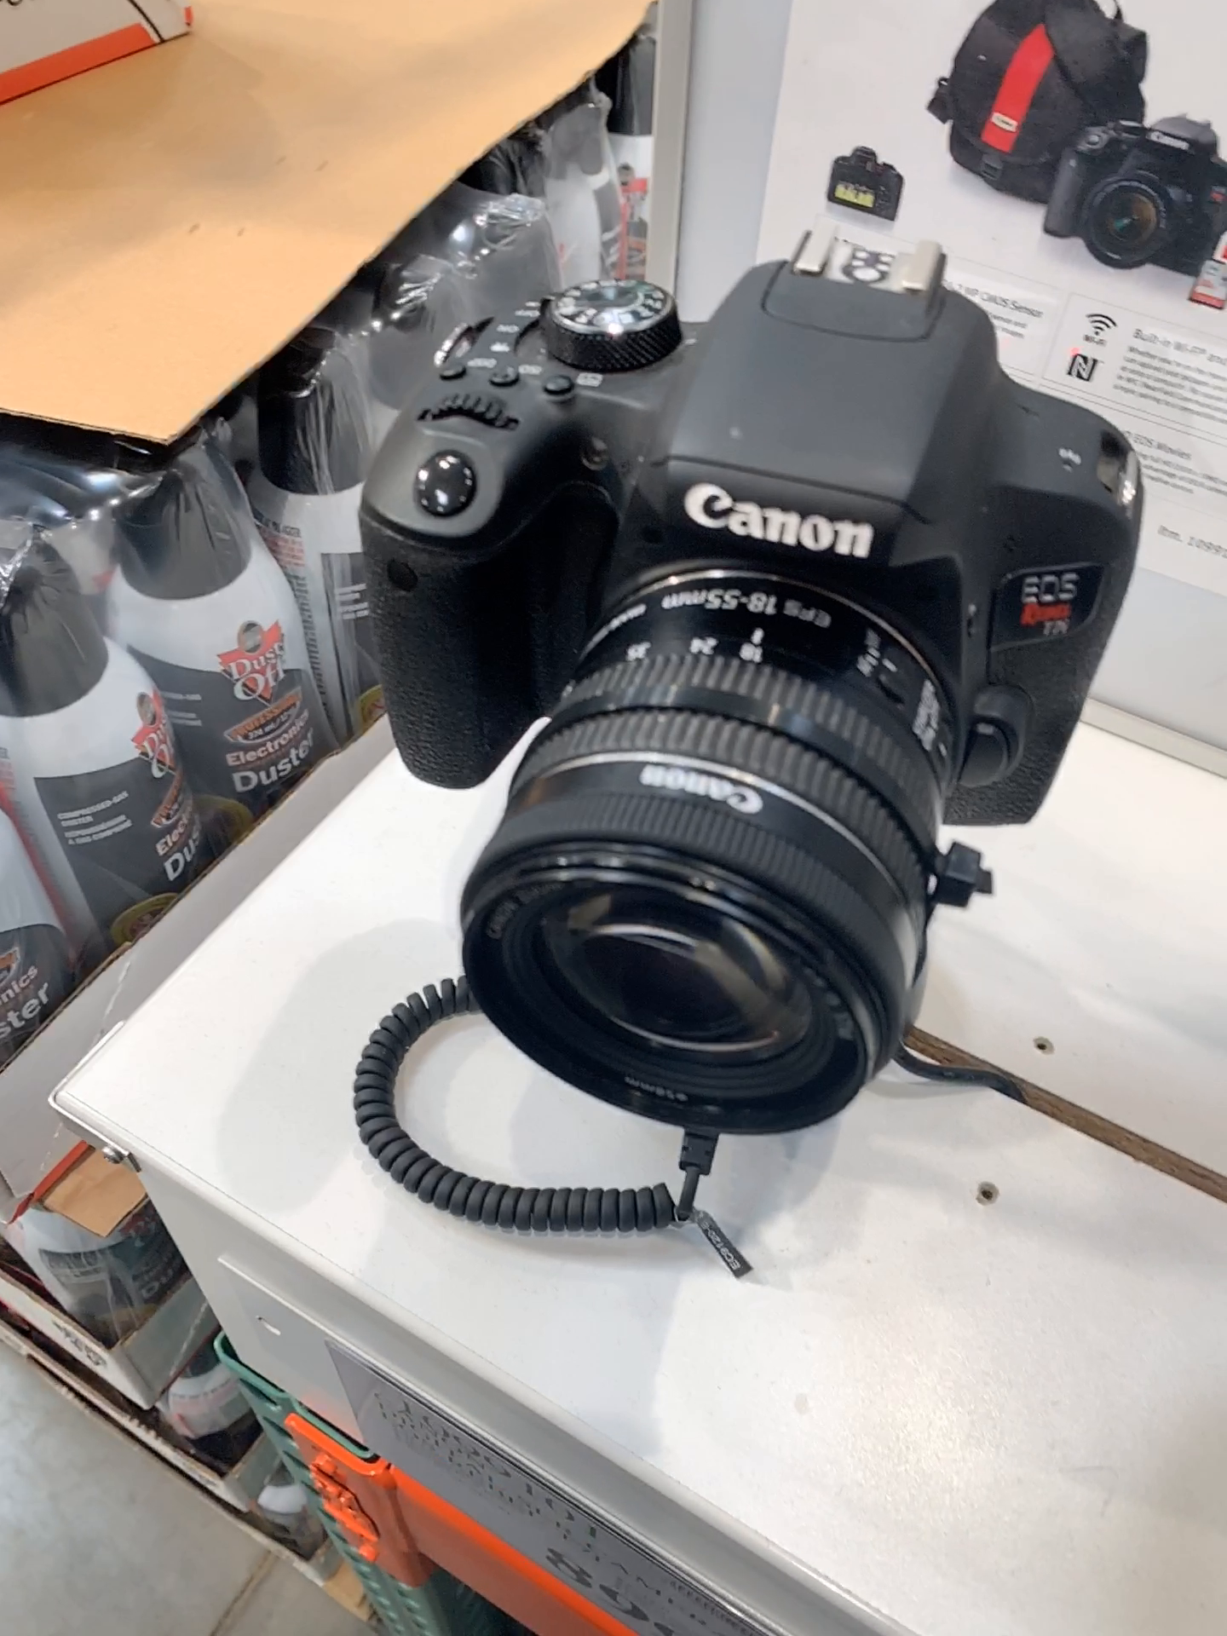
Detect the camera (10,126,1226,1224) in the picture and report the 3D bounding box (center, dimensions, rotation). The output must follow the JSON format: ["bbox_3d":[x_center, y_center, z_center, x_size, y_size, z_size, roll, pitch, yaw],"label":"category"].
[{"bbox_3d":[0.014,-0.030,0.200,0.134,0.089,0.121,14,50,9],"label":"camera"}]
